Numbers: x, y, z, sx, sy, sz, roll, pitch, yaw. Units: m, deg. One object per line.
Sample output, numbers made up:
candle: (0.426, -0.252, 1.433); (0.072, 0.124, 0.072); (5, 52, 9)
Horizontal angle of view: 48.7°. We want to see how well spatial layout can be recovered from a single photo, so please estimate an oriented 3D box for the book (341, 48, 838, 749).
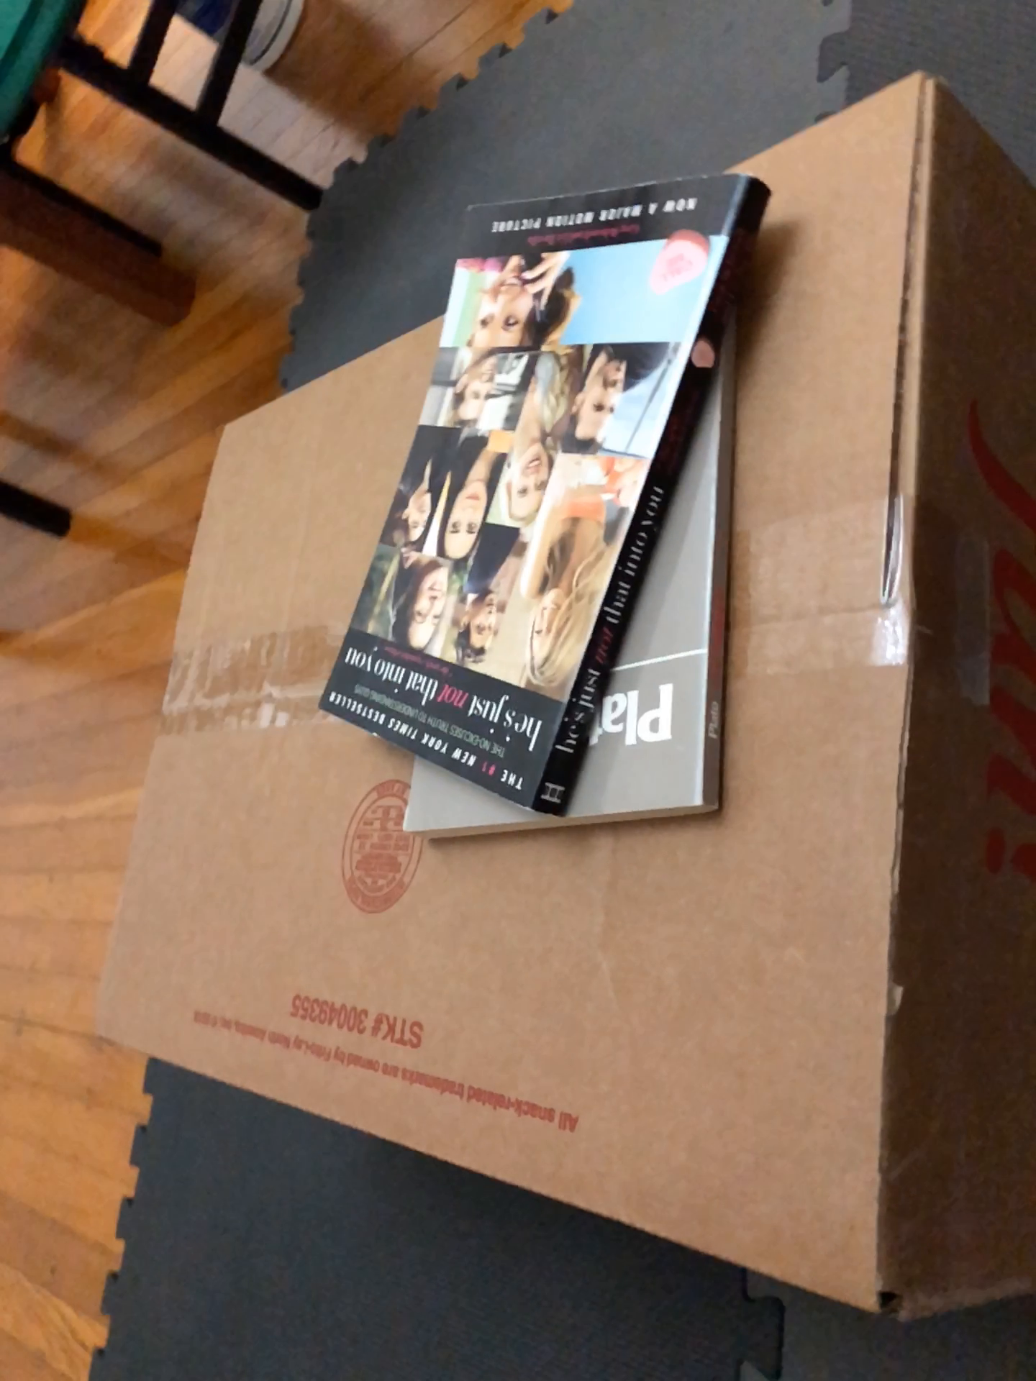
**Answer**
book: (0.015, -0.107, 0.418); (0.151, 0.010, 0.230); (19, 89, 50)
